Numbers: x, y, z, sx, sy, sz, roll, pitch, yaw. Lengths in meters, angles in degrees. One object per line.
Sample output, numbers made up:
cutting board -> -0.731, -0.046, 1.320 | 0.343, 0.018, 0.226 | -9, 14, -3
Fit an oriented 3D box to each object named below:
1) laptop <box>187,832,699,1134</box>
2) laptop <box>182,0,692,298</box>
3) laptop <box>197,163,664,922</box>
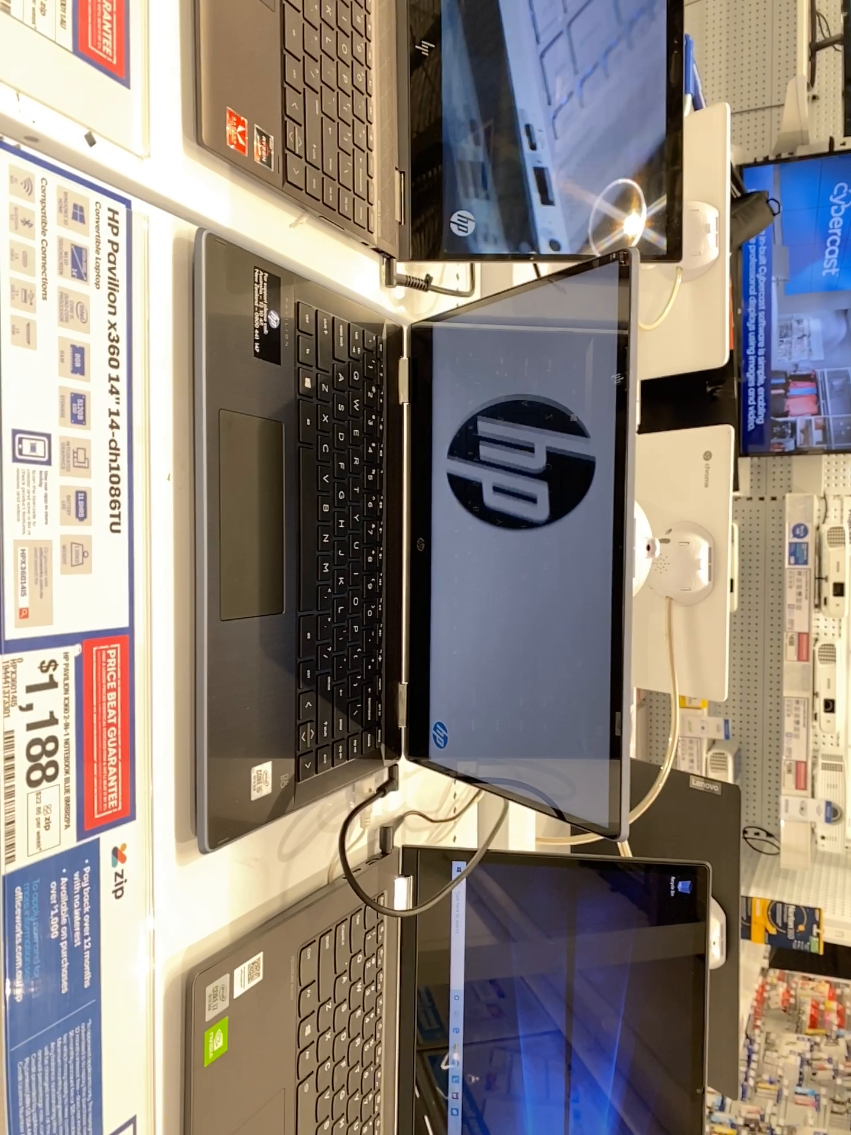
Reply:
laptop -> 0.037, 0.368, 0.531 | 0.296, 0.199, 0.306 | 2, 88, -63
laptop -> 0.037, -0.378, 0.540 | 0.326, 0.173, 0.325 | -2, 91, -62
laptop -> 0.017, -0.013, 0.497 | 0.212, 0.189, 0.313 | -4, 95, -63
